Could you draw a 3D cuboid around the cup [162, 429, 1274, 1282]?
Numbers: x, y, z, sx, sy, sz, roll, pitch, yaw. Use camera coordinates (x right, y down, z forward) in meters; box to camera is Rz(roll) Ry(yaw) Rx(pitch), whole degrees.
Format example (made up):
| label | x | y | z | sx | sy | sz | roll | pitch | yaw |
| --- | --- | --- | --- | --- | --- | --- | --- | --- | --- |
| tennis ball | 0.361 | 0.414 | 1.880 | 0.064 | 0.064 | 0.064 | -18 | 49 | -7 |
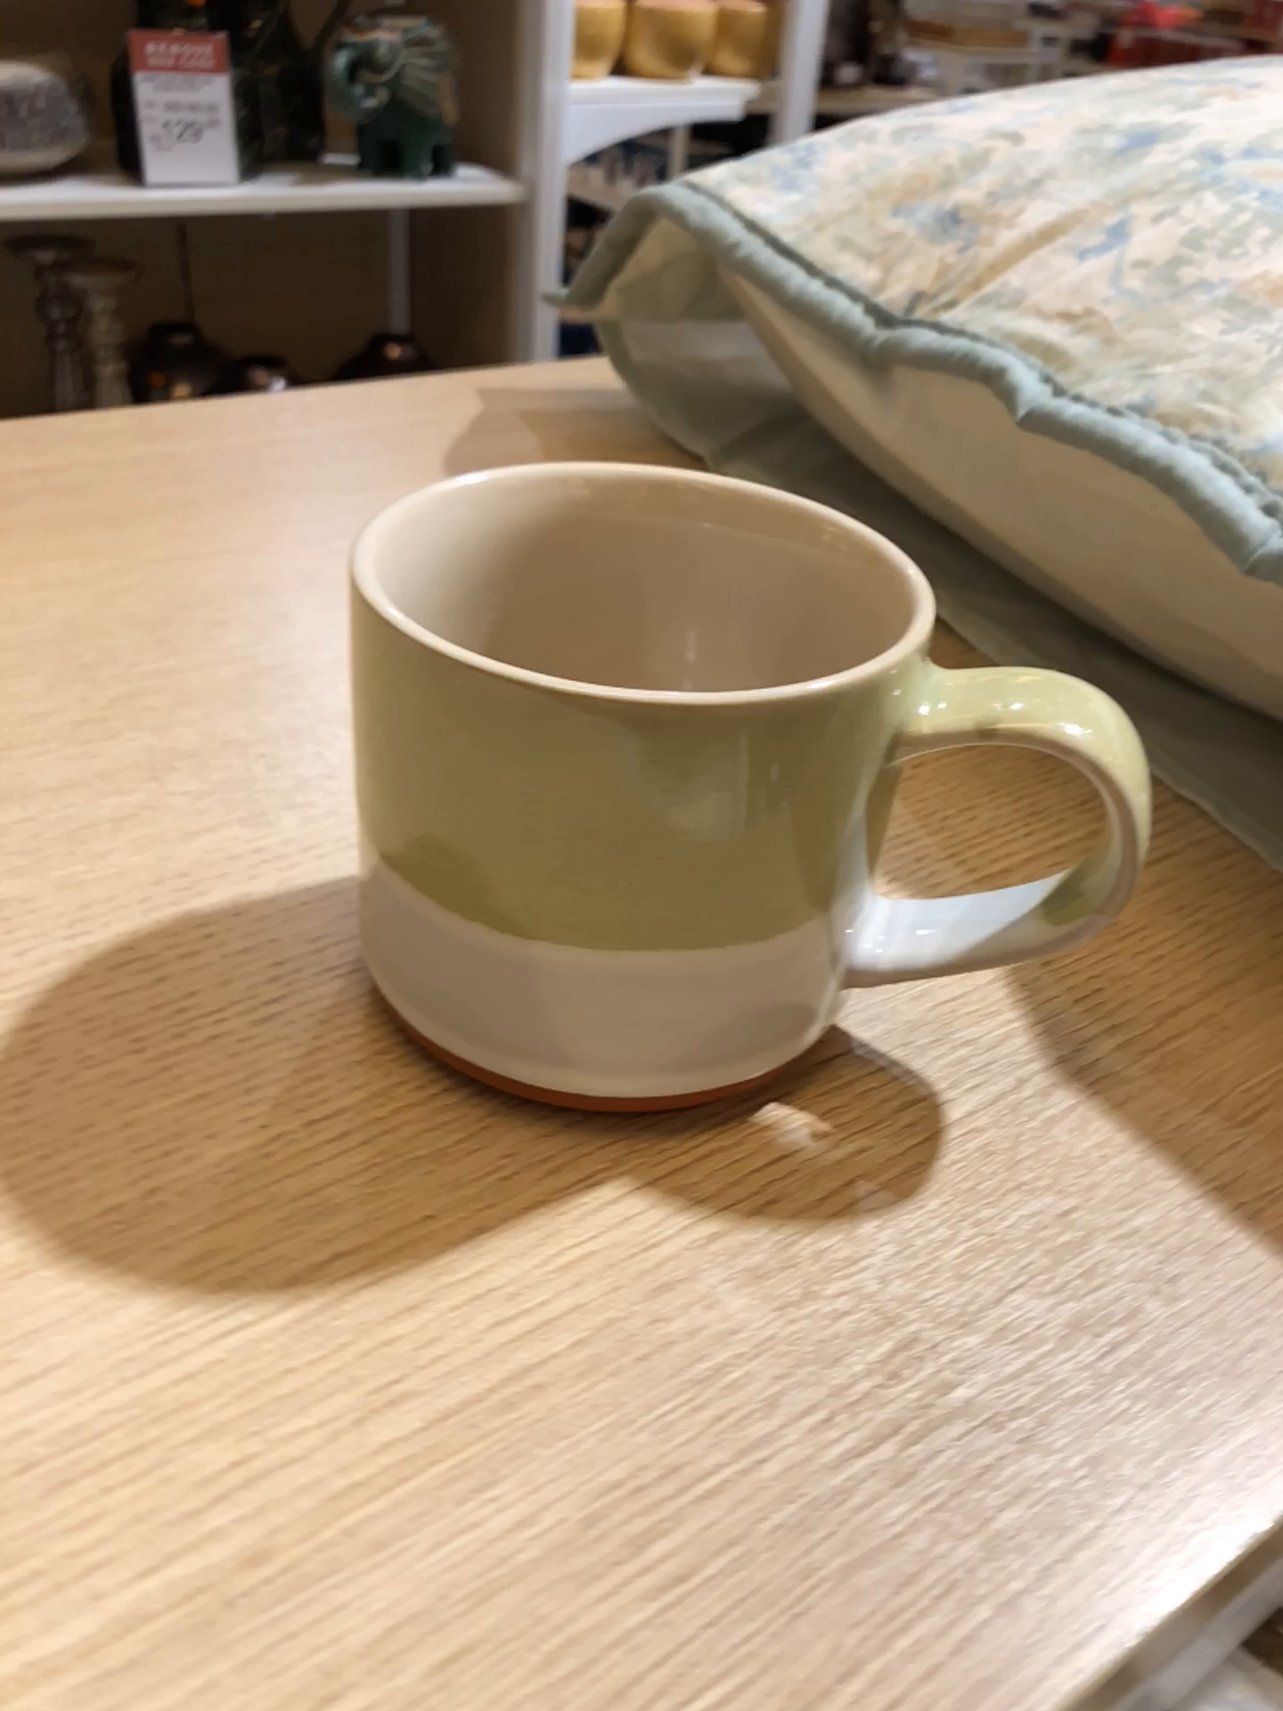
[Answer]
| label | x | y | z | sx | sy | sz | roll | pitch | yaw |
| --- | --- | --- | --- | --- | --- | --- | --- | --- | --- |
| cup | 0.013 | -0.008 | 0.241 | 0.140 | 0.079 | 0.101 | 10 | 34 | 6 |
